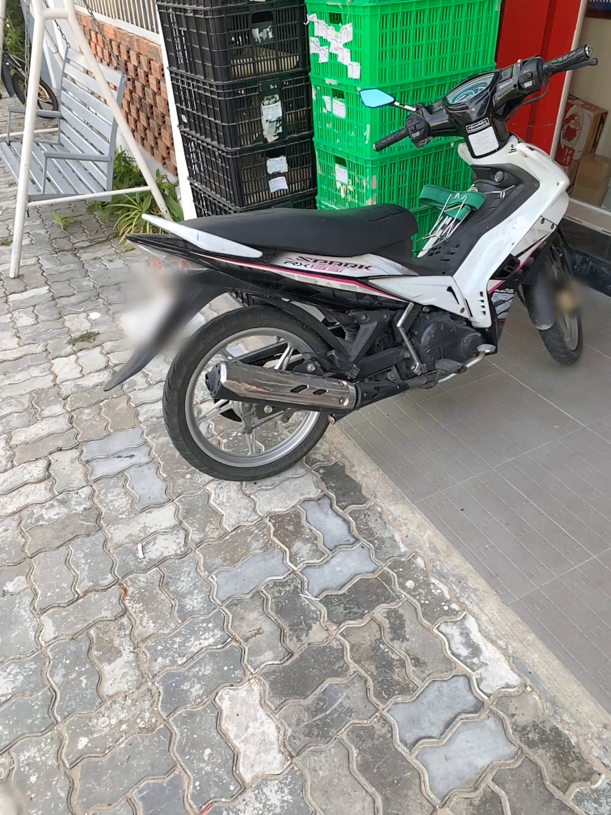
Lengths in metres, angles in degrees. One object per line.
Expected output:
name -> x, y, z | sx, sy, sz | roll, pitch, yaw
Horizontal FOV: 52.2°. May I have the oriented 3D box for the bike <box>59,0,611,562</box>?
bike -> 0.297, -0.550, 2.092 | 1.816, 1.186, 0.669 | -24, 42, -25
